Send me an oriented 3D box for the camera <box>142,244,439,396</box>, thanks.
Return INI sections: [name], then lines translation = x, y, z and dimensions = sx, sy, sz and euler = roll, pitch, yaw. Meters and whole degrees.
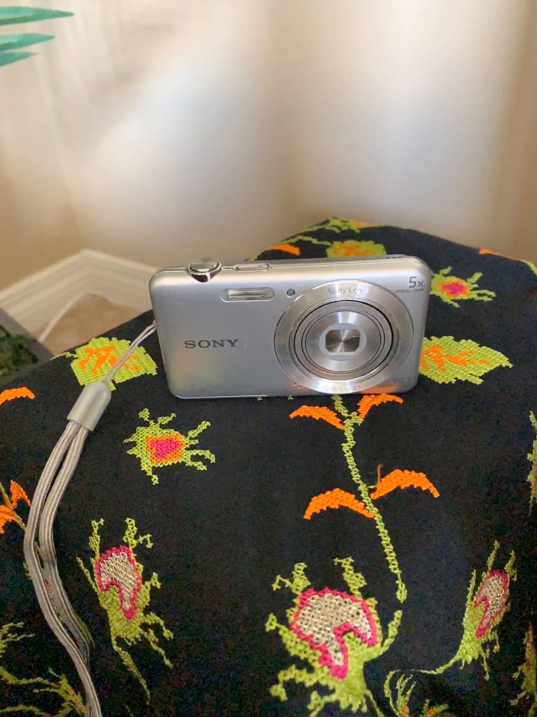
[camera]
translation = 0.007, -0.012, 0.183
dimensions = 0.086, 0.042, 0.020
euler = -2, 35, 2
